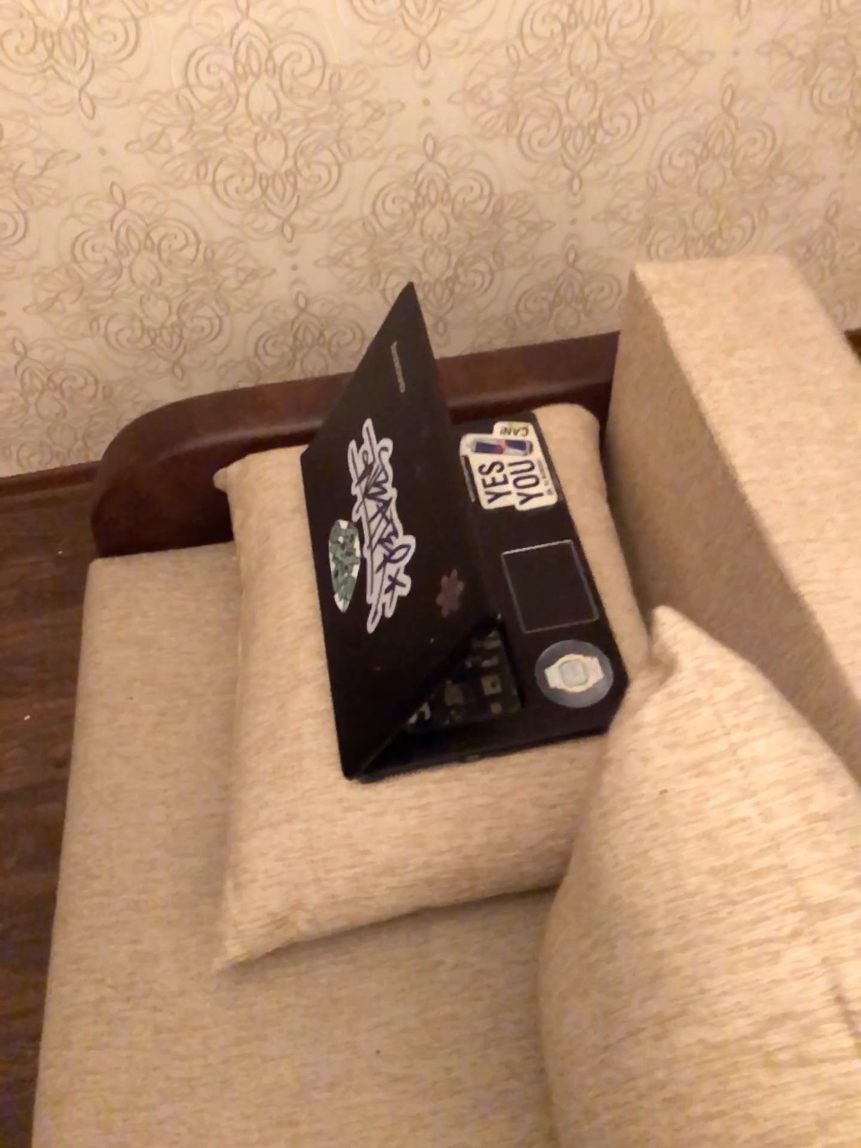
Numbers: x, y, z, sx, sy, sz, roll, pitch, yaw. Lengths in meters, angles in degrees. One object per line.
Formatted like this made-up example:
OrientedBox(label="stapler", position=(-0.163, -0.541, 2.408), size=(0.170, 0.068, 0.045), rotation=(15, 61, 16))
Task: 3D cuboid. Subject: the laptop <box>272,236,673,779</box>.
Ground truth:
OrientedBox(label="laptop", position=(0.017, -0.074, 0.901), size=(0.267, 0.223, 0.414), rotation=(-11, 53, -2))
